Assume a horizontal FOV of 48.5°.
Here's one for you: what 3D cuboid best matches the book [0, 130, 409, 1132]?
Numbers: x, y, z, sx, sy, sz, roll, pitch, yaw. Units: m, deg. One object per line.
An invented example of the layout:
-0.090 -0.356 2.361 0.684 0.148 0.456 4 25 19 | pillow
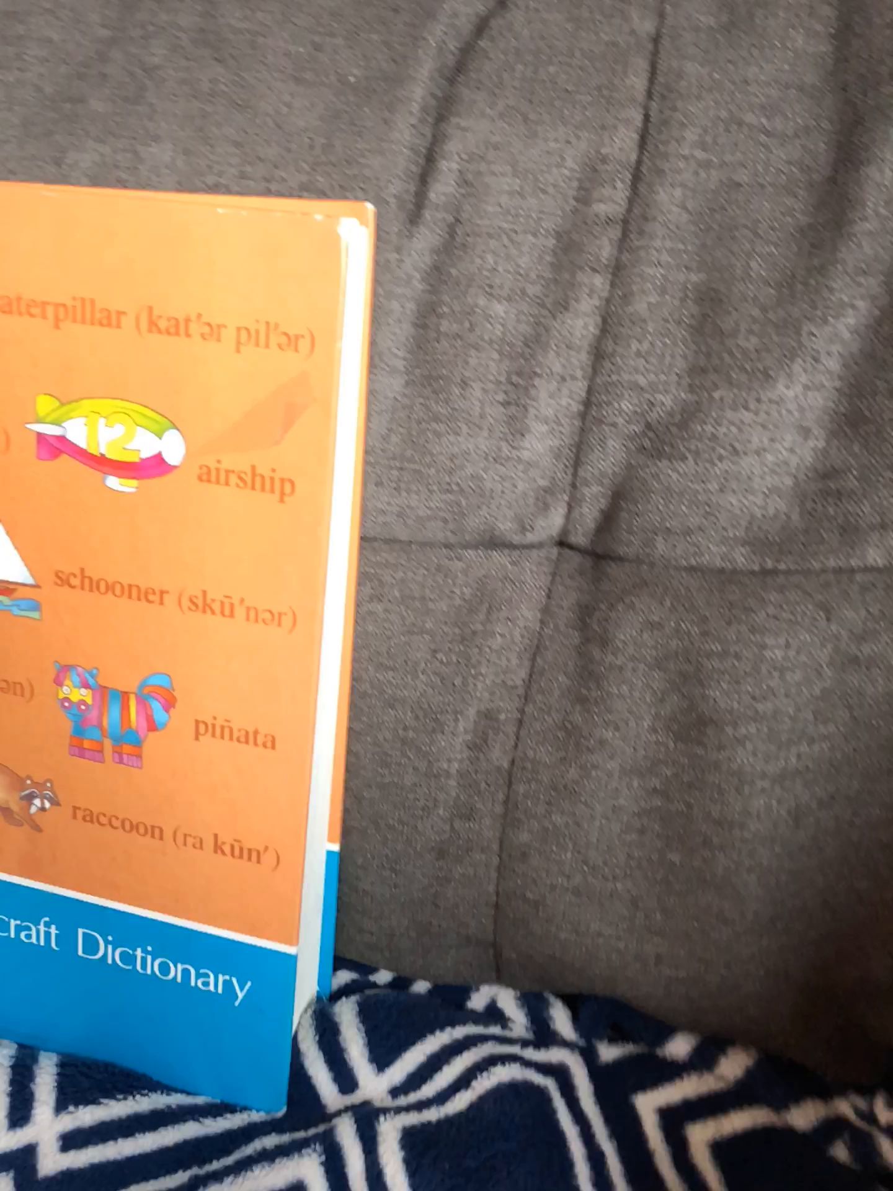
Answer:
-0.131 0.012 0.303 0.210 0.260 0.055 10 18 11 | book
